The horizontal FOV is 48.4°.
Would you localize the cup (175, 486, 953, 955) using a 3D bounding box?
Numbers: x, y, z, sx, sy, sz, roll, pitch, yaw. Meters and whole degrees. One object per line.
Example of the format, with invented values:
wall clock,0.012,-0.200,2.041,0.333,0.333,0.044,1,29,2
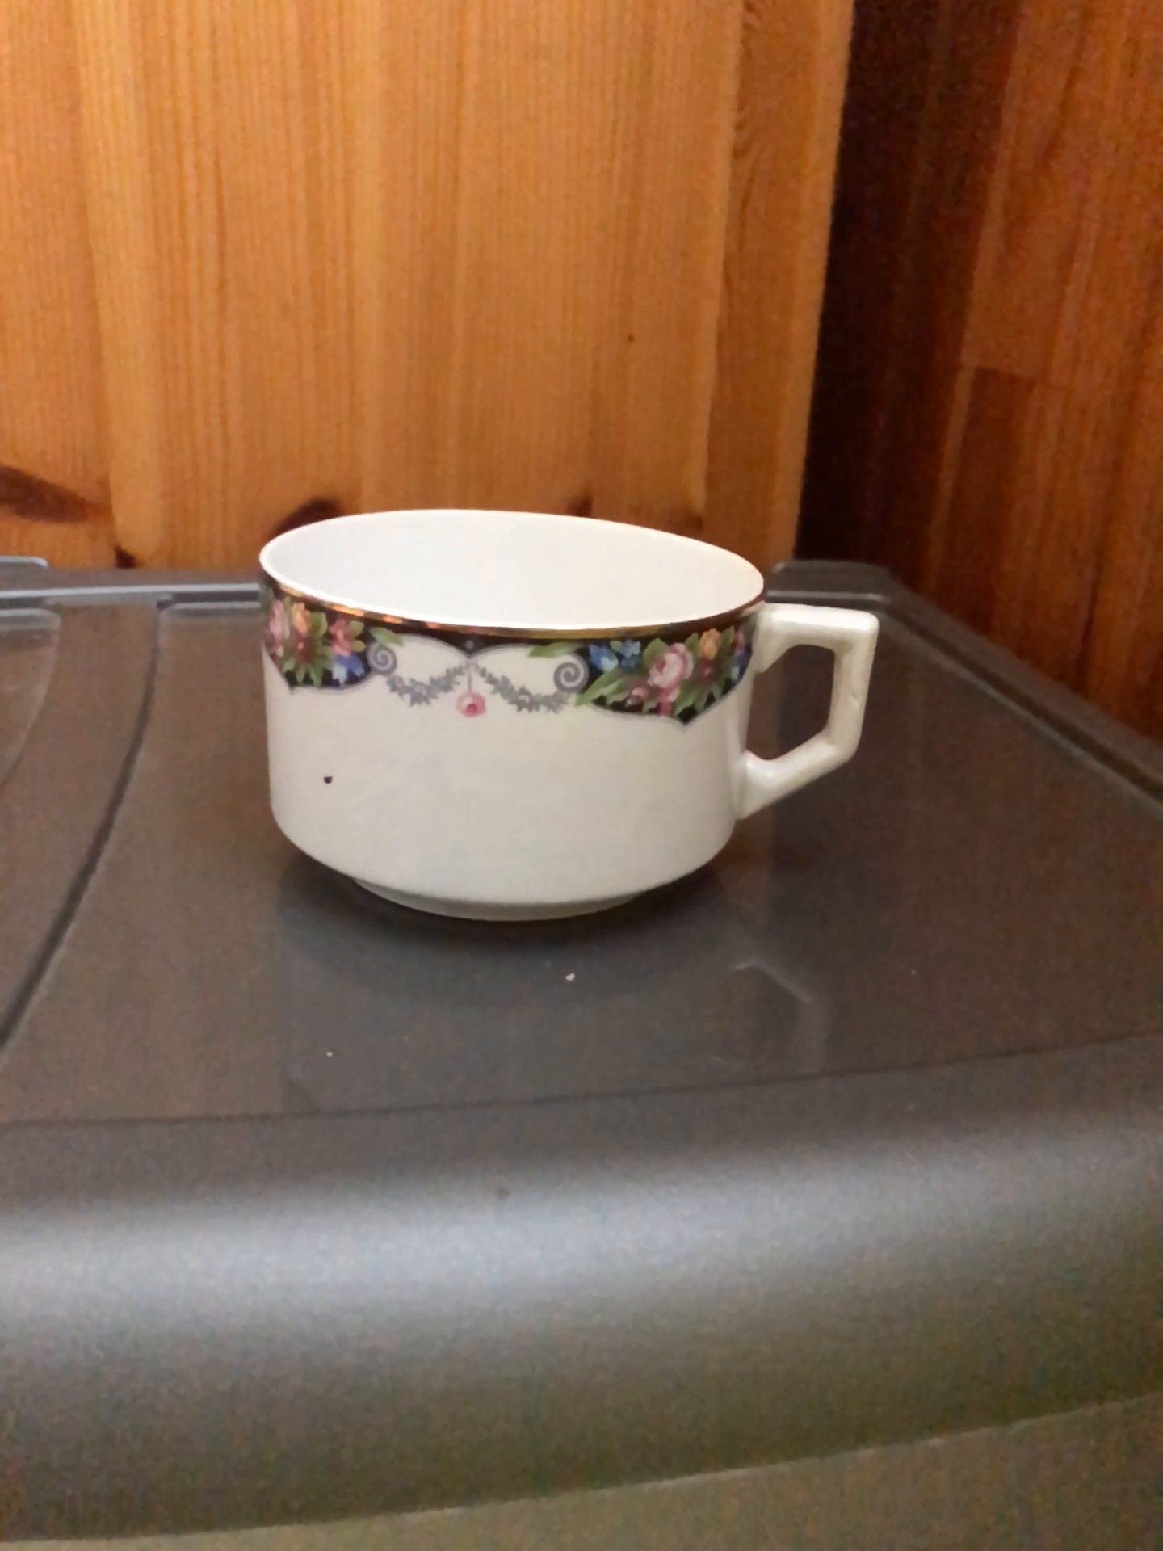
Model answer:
cup,-0.003,-0.018,0.273,0.130,0.060,0.101,4,22,1
